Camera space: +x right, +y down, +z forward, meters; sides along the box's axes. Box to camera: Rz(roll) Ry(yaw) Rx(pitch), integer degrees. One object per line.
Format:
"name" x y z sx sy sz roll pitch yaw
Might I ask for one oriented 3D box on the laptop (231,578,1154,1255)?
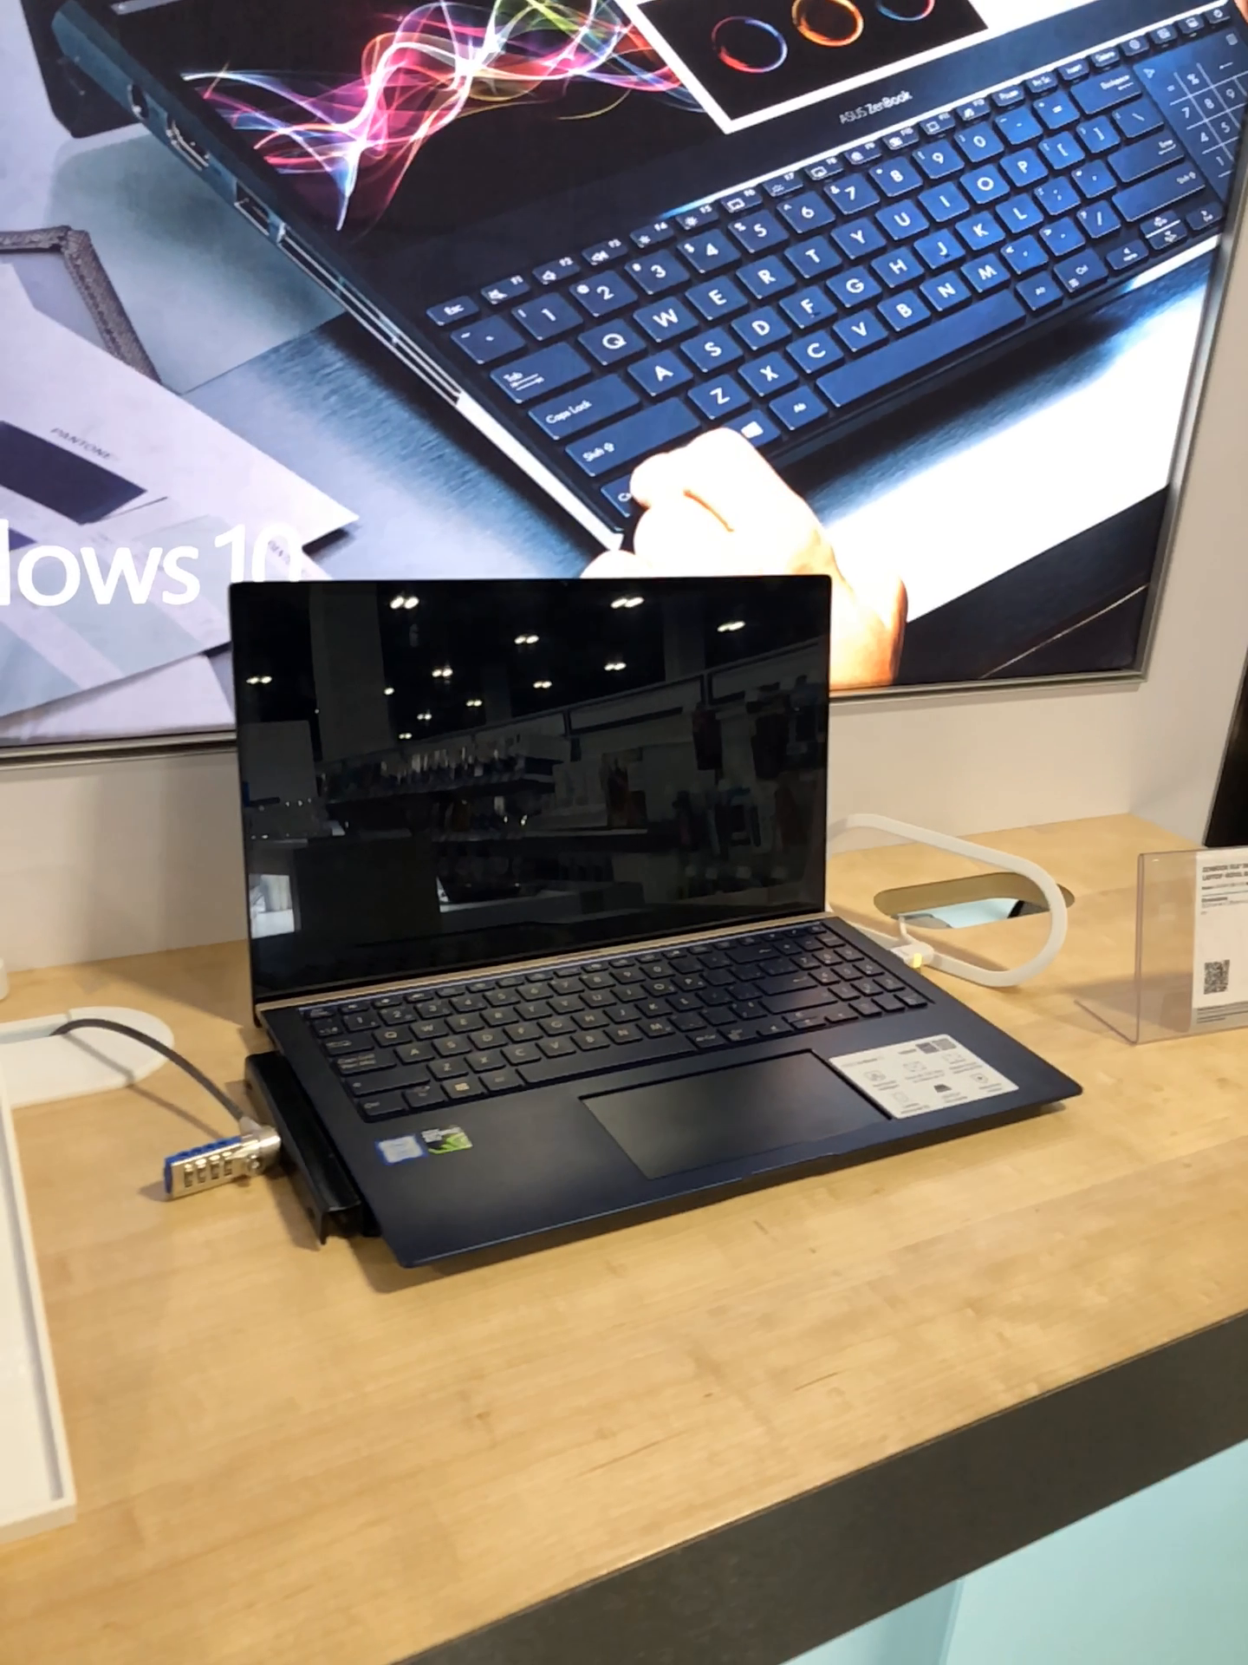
"laptop" 0.014 0.004 0.646 0.336 0.196 0.250 -6 22 -27
